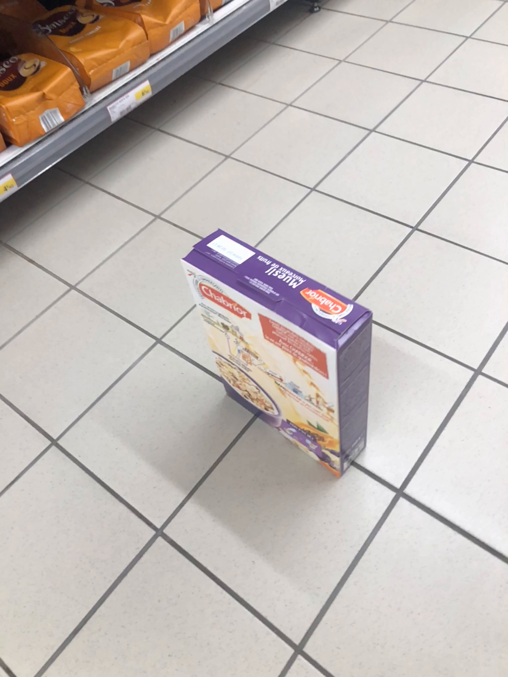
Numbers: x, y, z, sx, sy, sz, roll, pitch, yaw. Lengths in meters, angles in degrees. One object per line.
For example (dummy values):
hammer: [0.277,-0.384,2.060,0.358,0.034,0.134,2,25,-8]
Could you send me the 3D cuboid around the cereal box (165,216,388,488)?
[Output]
cereal box: [0.030,0.024,0.611,0.210,0.259,0.070,32,63,29]
